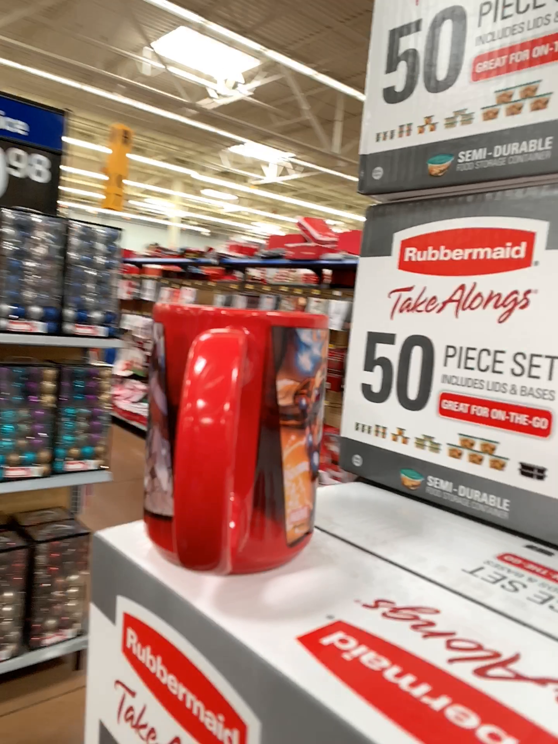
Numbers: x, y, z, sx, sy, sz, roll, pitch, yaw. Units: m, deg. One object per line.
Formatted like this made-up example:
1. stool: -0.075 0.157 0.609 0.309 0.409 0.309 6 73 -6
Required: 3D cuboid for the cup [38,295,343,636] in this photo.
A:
1. cup: -0.027 0.026 0.257 0.100 0.114 0.119 2 5 10
